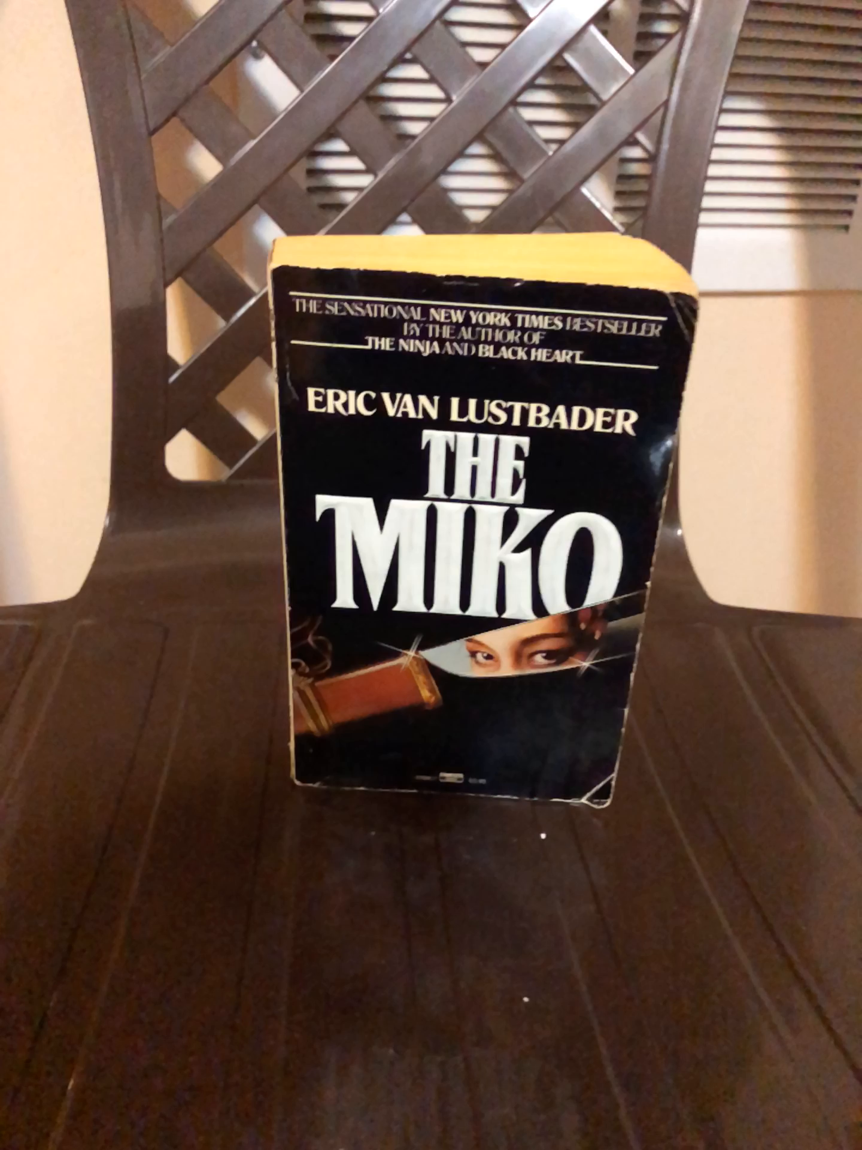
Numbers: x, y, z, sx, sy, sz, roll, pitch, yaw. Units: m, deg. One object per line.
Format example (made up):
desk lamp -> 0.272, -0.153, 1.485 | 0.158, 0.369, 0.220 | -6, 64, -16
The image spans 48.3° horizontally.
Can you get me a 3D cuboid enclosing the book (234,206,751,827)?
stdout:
book -> 0.010, -0.010, 0.277 | 0.120, 0.169, 0.040 | 3, 26, -1
